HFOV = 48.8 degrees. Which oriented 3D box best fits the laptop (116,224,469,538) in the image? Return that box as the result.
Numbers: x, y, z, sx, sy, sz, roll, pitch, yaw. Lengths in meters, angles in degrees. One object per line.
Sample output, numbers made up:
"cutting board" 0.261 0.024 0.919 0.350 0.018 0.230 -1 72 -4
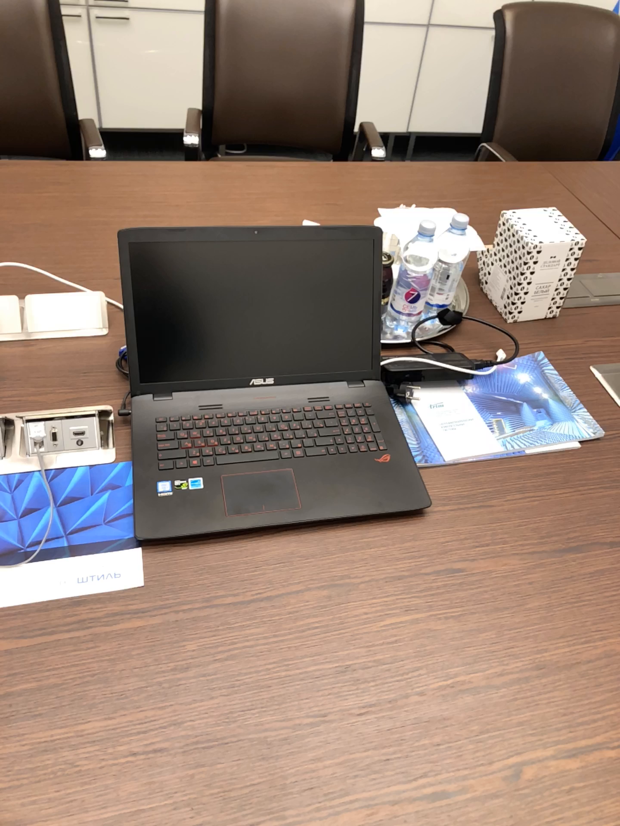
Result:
"laptop" -0.053 -0.066 0.916 0.379 0.194 0.370 -4 46 -13
